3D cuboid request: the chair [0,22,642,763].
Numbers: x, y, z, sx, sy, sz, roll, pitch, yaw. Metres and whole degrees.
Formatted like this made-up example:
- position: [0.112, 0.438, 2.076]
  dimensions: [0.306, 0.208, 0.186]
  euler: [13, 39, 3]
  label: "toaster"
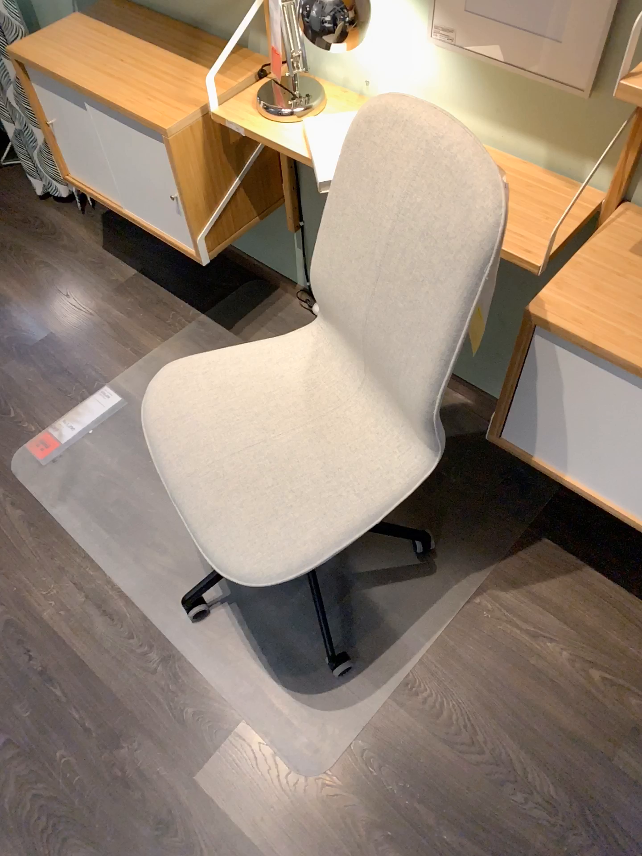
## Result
- position: [-0.080, 0.023, 1.195]
  dimensions: [0.670, 1.017, 0.671]
  euler: [-28, 58, -15]
  label: "chair"
